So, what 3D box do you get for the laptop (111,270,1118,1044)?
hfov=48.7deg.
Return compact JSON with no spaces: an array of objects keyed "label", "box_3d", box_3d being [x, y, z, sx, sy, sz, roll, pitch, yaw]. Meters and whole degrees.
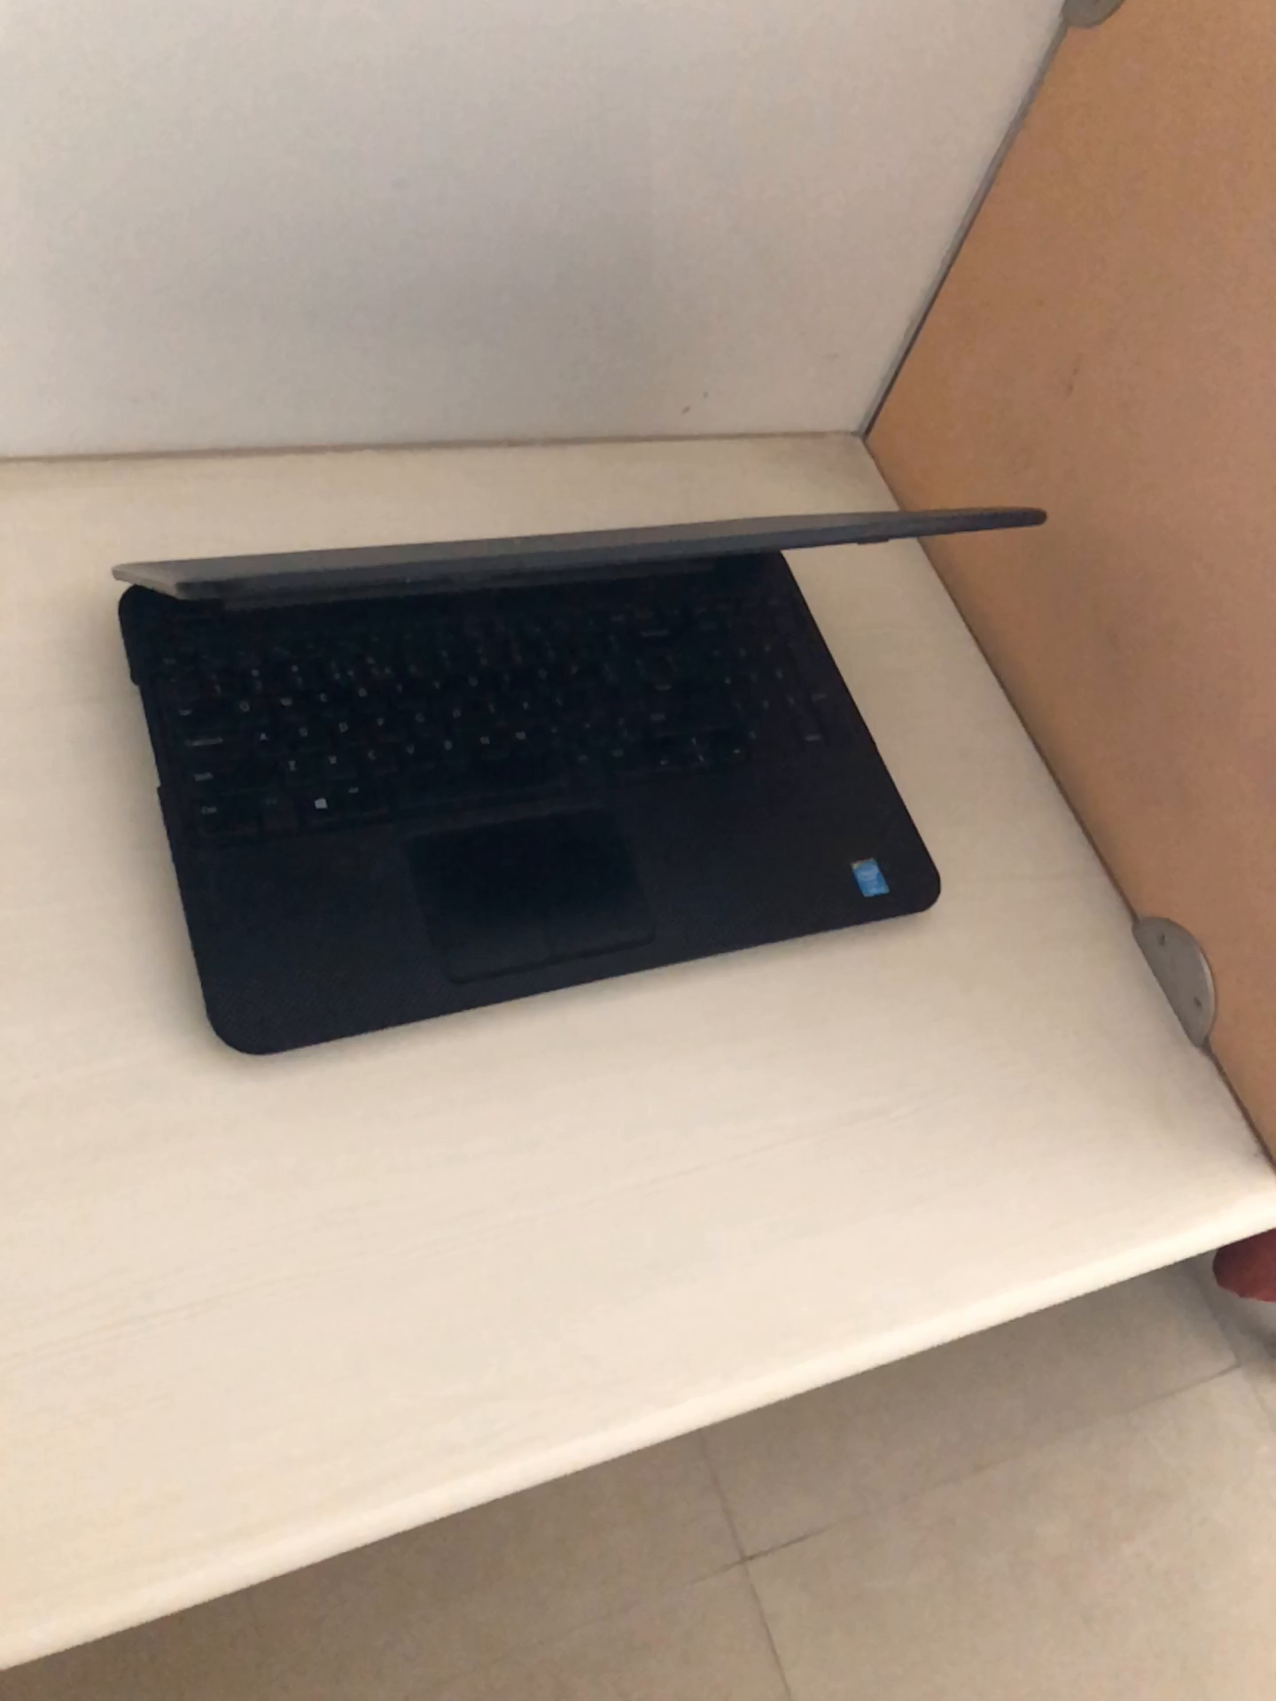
[{"label":"laptop","box_3d":[-0.023,-0.100,0.644,0.365,0.177,0.248,-10,62,-25]}]
